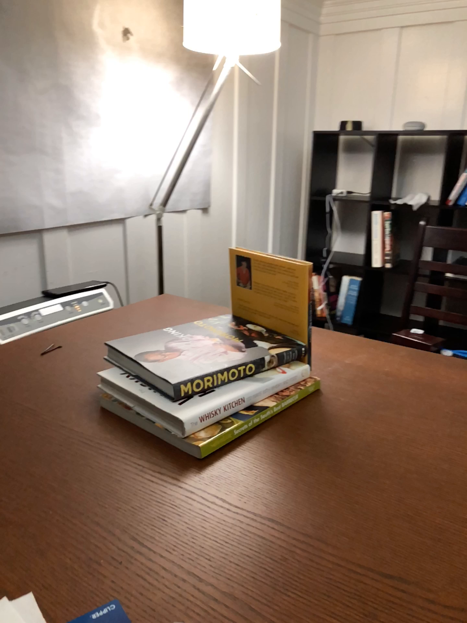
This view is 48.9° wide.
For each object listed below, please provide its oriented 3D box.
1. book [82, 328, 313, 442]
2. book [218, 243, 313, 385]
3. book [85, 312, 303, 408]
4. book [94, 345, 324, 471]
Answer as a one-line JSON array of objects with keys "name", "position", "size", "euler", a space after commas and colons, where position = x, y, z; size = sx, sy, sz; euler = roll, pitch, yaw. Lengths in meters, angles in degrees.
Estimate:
[{"name": "book", "position": [-0.050, 0.096, 0.797], "size": [0.220, 0.030, 0.281], "euler": [17, 22, 41]}, {"name": "book", "position": [0.051, -0.003, 0.917], "size": [0.030, 0.209, 0.210], "euler": [-15, 22, -37]}, {"name": "book", "position": [-0.062, 0.064, 0.846], "size": [0.280, 0.030, 0.220], "euler": [-12, 22, -40]}, {"name": "book", "position": [-0.030, 0.128, 0.789], "size": [0.220, 0.030, 0.281], "euler": [16, 21, 39]}]
